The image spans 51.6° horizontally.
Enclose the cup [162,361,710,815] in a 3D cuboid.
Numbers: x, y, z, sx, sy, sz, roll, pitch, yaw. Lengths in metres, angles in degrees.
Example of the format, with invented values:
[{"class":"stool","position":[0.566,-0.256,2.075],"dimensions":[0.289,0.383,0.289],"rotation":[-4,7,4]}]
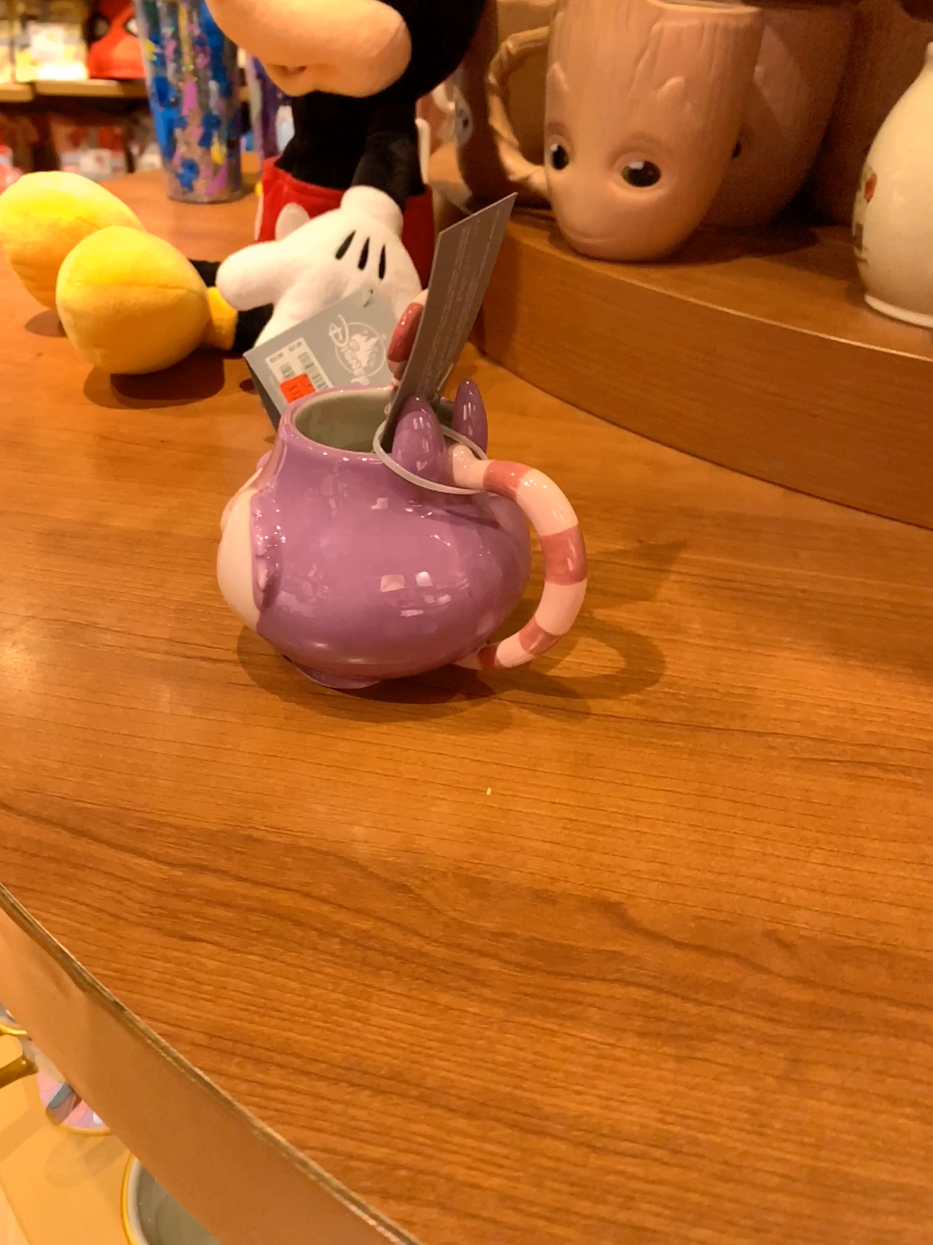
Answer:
[{"class":"cup","position":[-0.004,-0.021,0.326],"dimensions":[0.142,0.077,0.115],"rotation":[14,34,14]}]
